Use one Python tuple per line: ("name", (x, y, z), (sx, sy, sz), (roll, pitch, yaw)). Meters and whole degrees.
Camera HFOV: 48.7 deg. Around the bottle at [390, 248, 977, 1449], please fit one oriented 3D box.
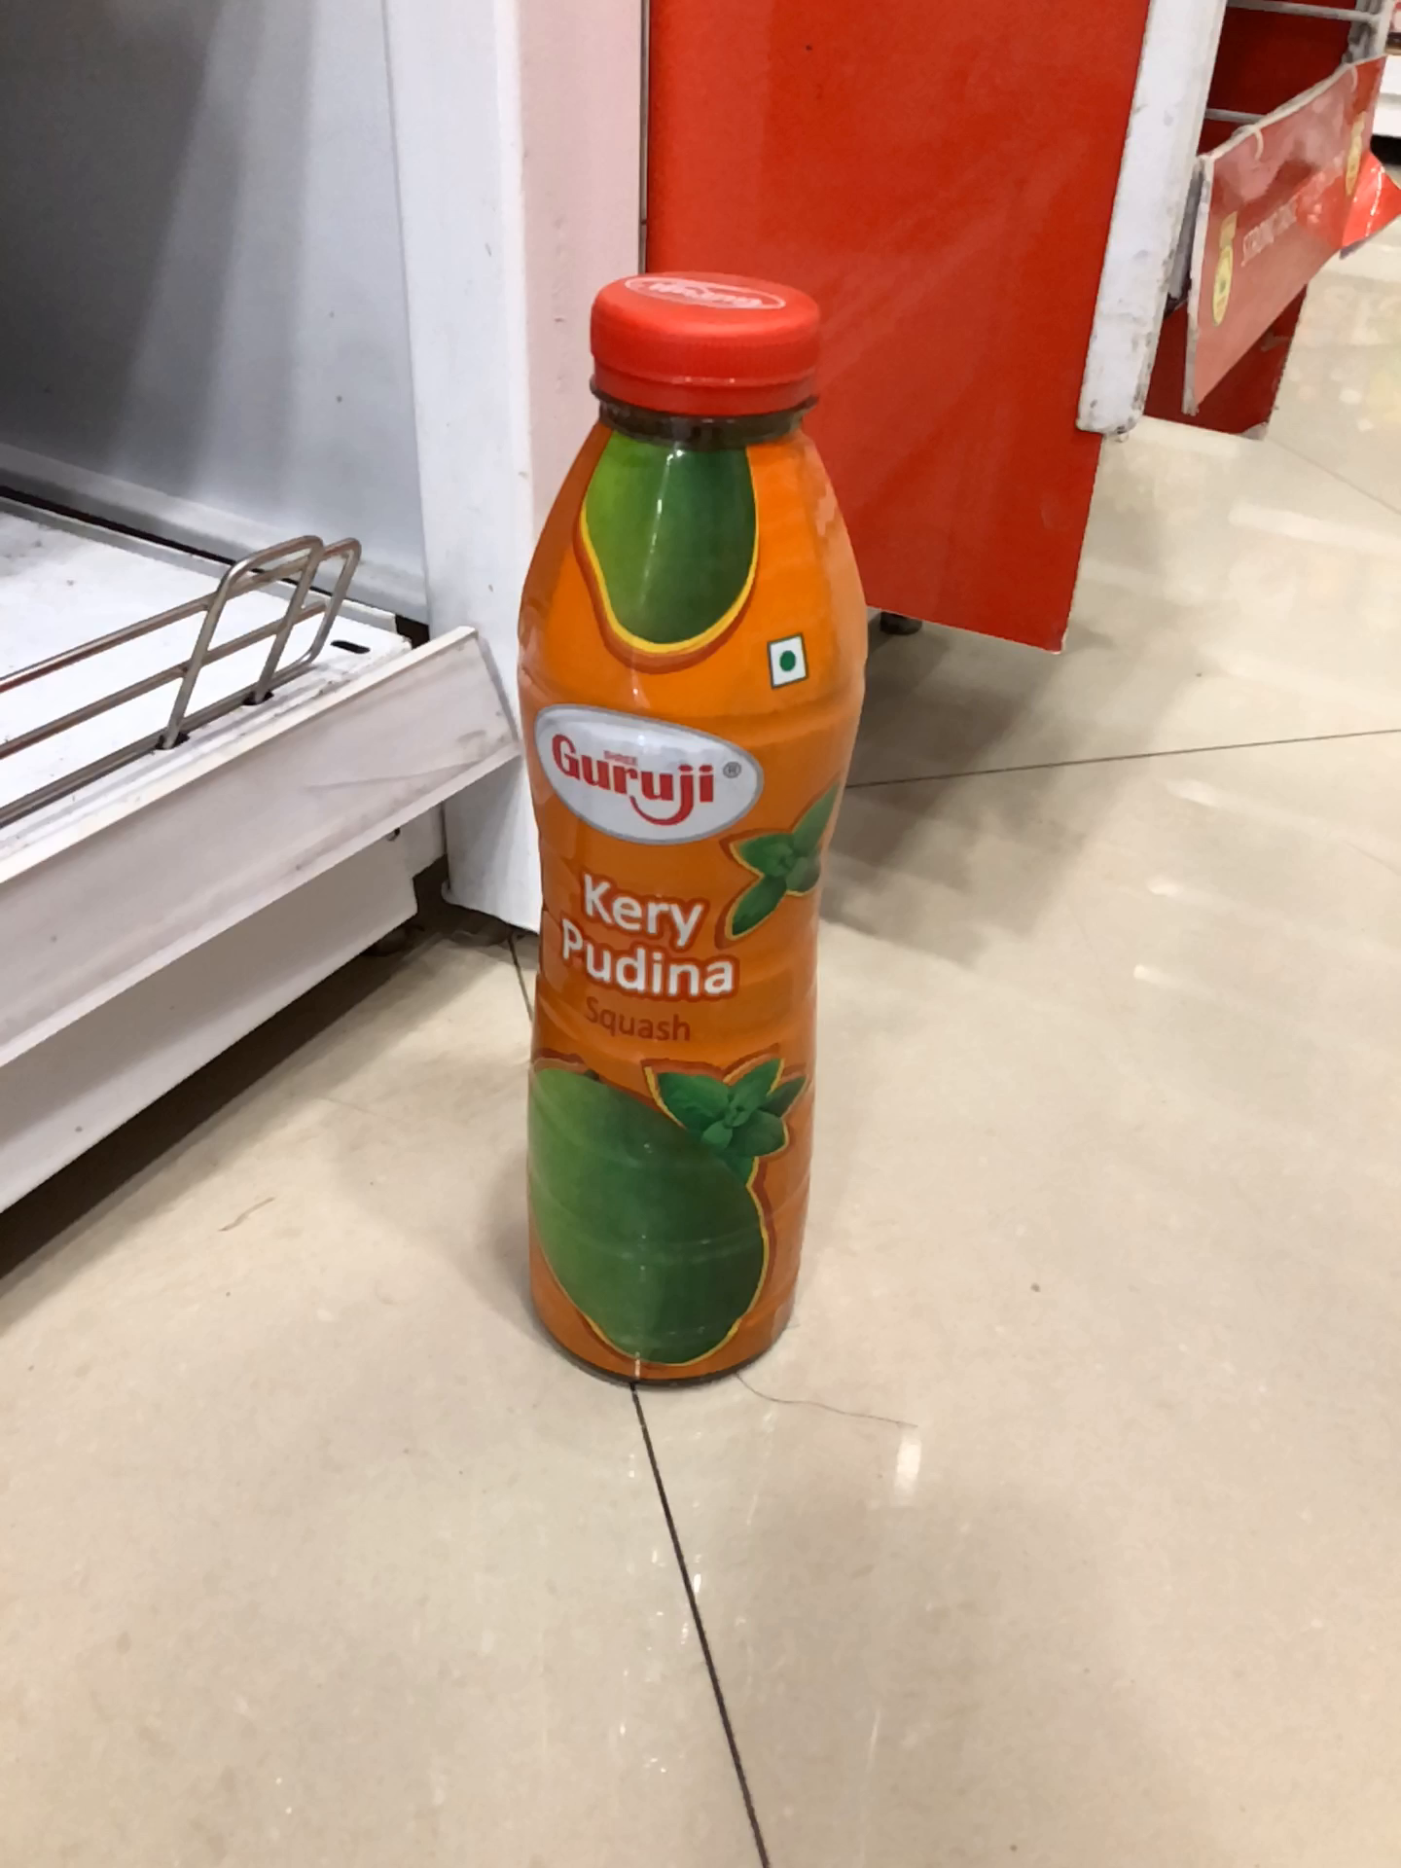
("bottle", (-0.003, -0.007, 0.332), (0.080, 0.238, 0.081), (2, 35, -1))
